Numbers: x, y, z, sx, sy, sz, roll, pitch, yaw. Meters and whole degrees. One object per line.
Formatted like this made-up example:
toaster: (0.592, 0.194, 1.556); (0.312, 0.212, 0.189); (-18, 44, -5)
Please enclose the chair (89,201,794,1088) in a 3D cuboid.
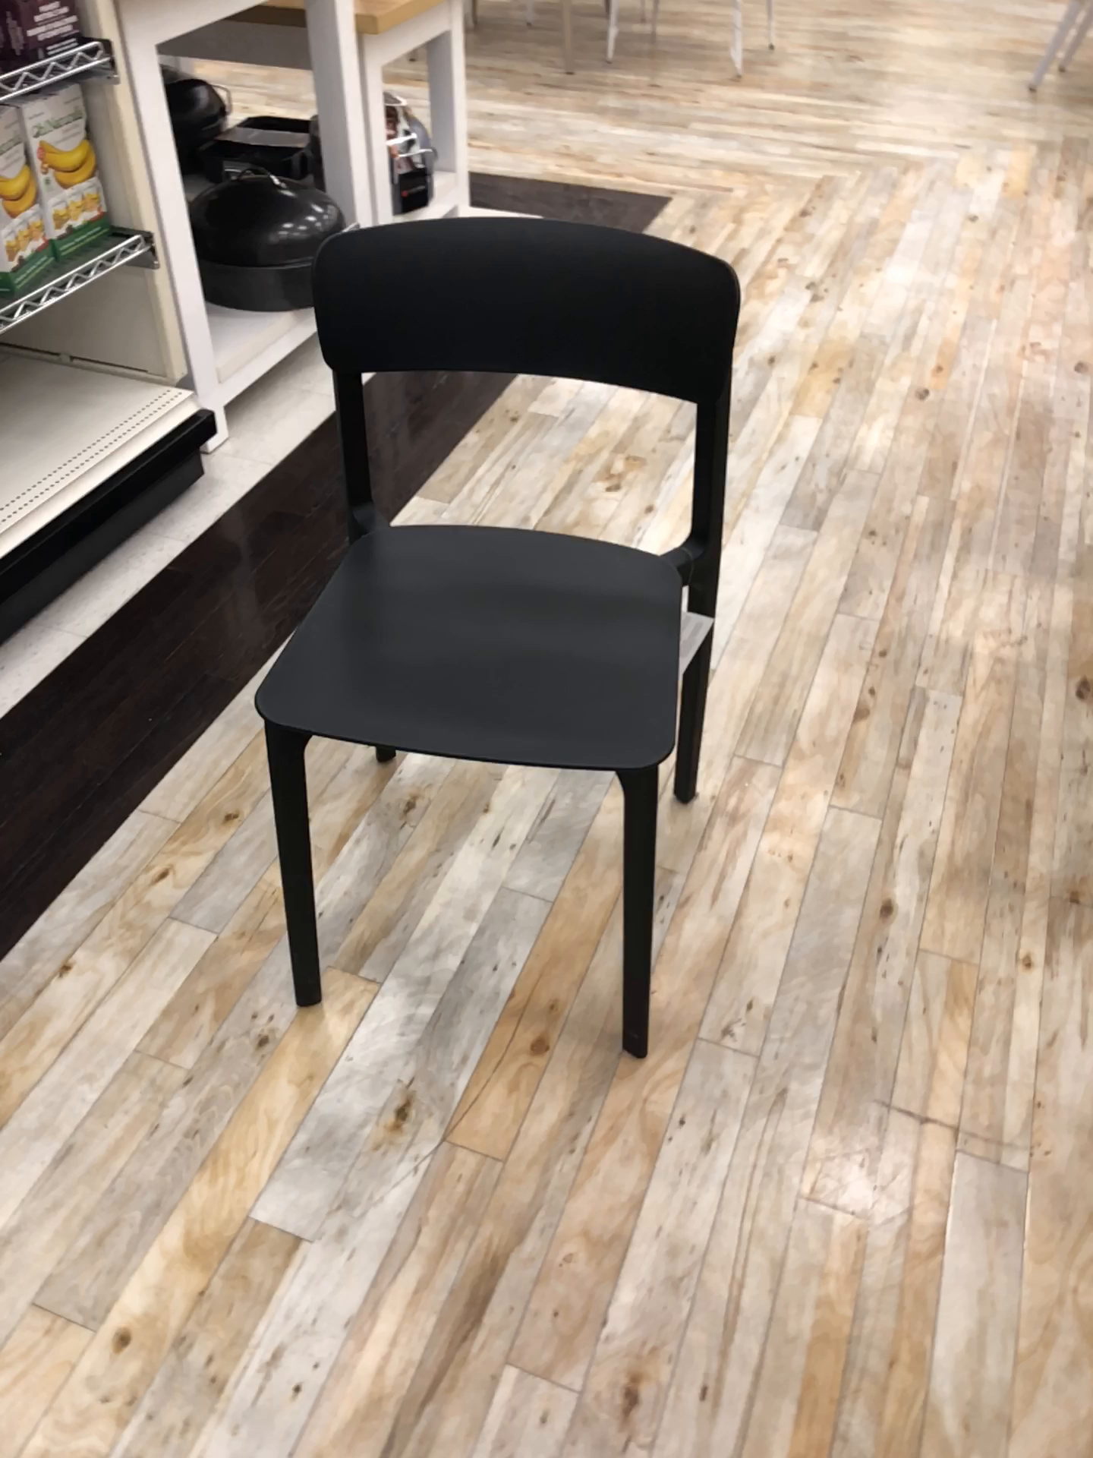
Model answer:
chair: (-0.044, -0.088, 1.281); (0.500, 0.707, 0.542); (7, 42, 7)
